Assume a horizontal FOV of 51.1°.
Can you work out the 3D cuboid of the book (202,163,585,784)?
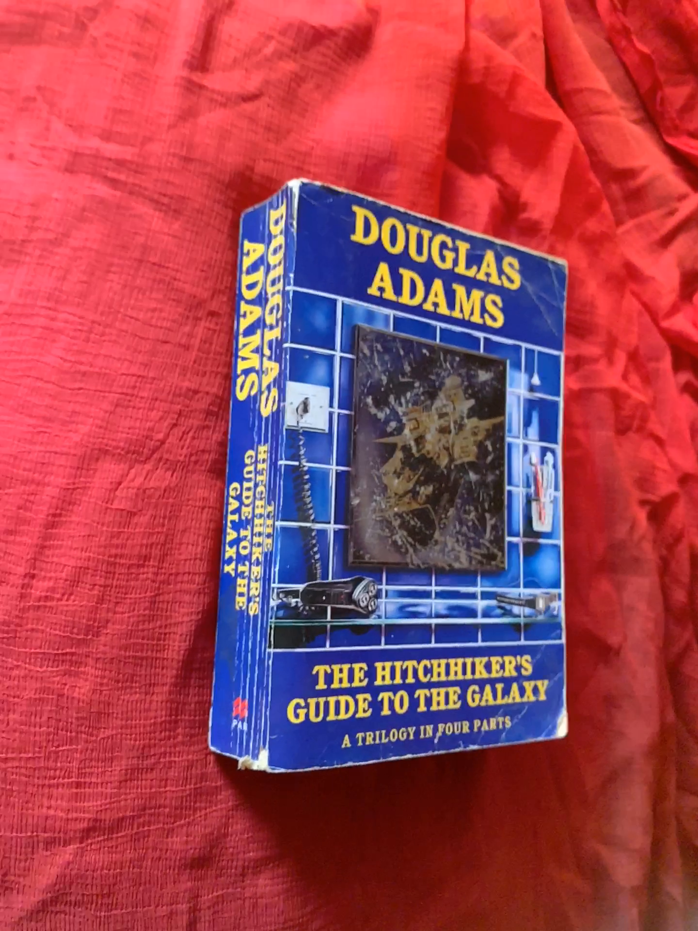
[{"bbox_3d":[0.023,0.006,0.269,0.131,0.044,0.187,7,80,-29],"label":"book"}]
